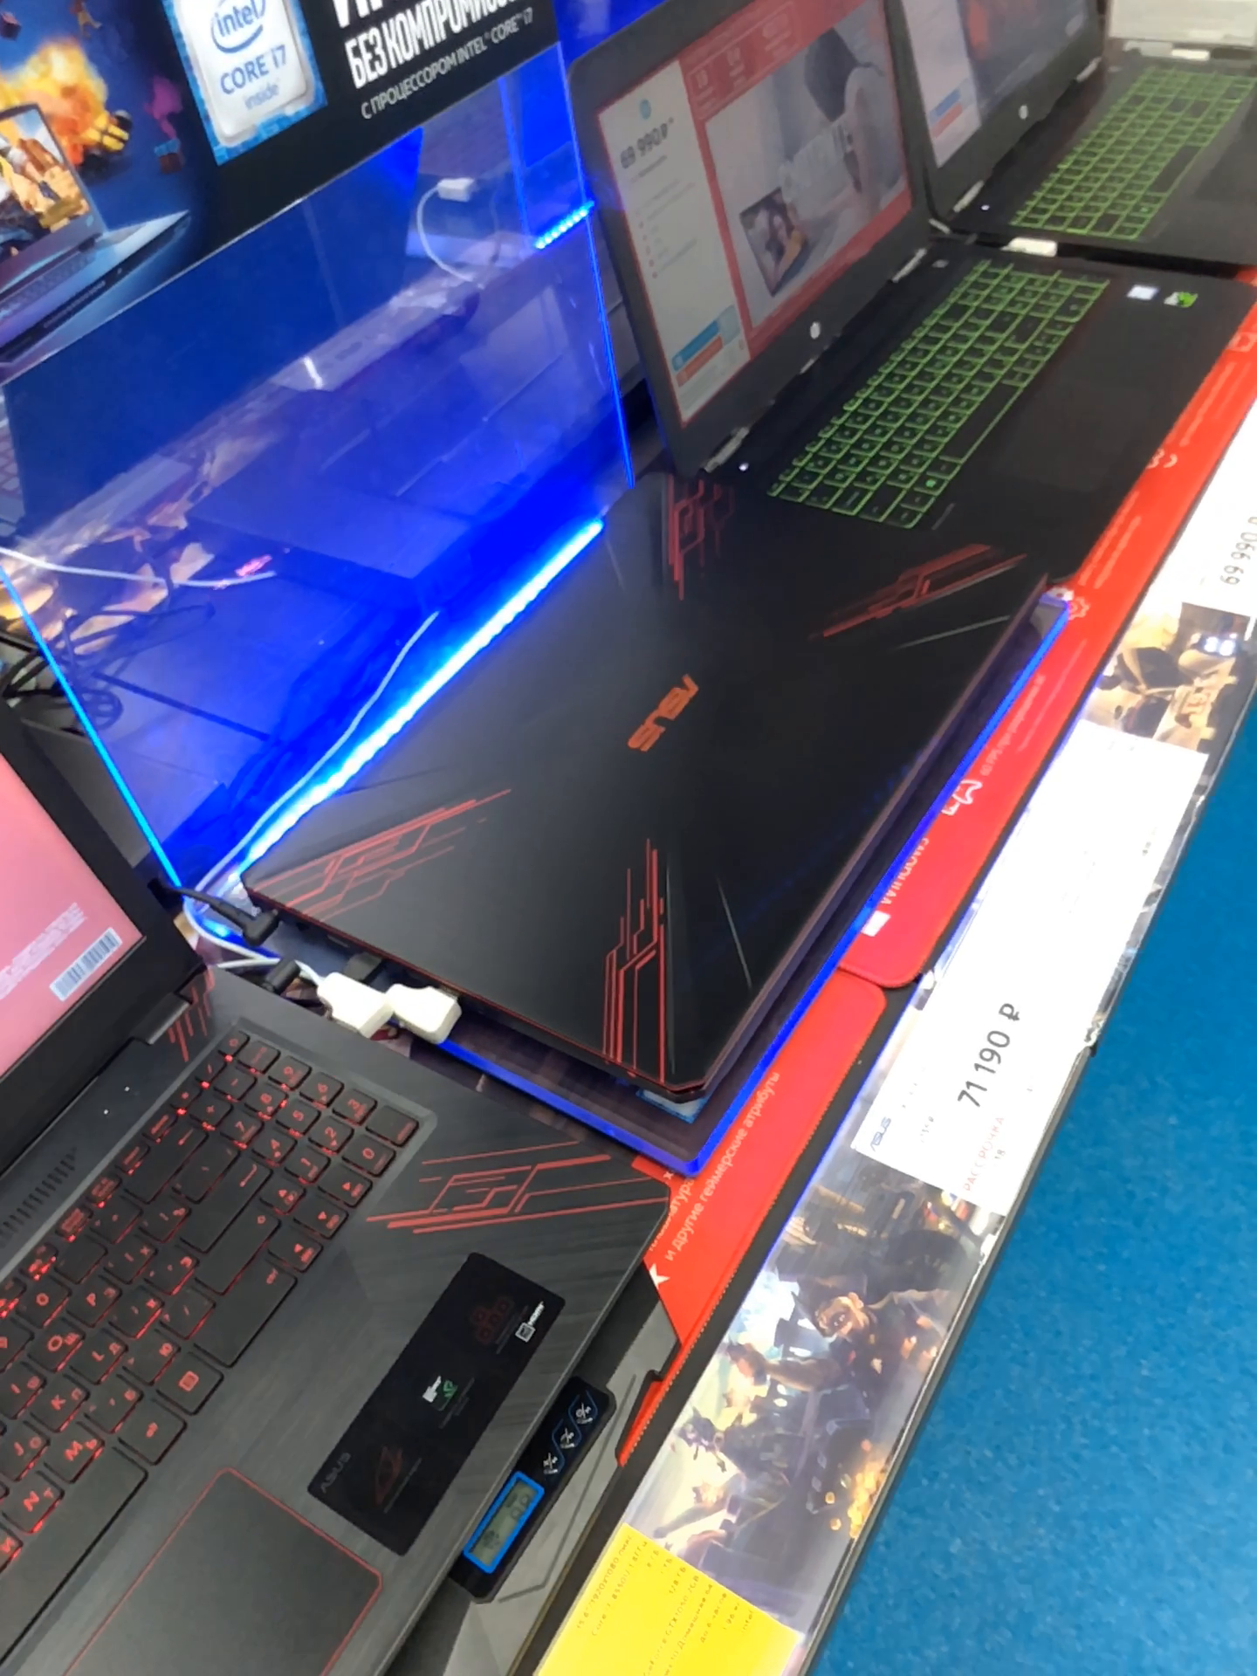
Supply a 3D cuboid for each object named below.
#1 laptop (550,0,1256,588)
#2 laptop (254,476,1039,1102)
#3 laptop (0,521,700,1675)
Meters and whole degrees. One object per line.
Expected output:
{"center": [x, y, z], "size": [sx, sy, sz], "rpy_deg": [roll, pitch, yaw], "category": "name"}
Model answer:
{"center": [0.202, -0.392, 0.850], "size": [0.292, 0.242, 0.375], "rpy_deg": [21, 54, 26], "category": "laptop"}
{"center": [0.022, -0.059, 0.709], "size": [0.243, 0.006, 0.374], "rpy_deg": [21, 54, 26], "category": "laptop"}
{"center": [-0.228, 0.141, 0.399], "size": [0.319, 0.231, 0.391], "rpy_deg": [18, 53, 26], "category": "laptop"}
